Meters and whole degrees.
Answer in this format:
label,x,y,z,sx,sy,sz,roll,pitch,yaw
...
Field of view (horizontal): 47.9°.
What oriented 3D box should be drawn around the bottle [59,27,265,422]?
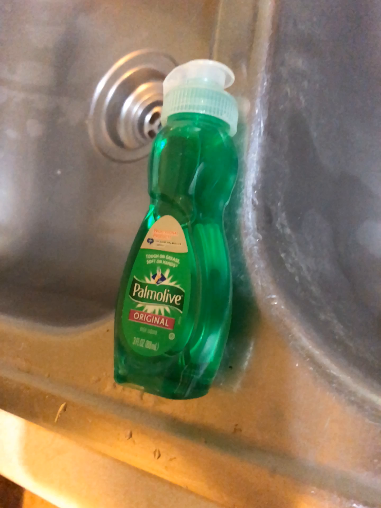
label,x,y,z,sx,sy,sz,roll,pitch,yaw
bottle,-0.009,-0.012,0.163,0.050,0.030,0.130,4,82,32
